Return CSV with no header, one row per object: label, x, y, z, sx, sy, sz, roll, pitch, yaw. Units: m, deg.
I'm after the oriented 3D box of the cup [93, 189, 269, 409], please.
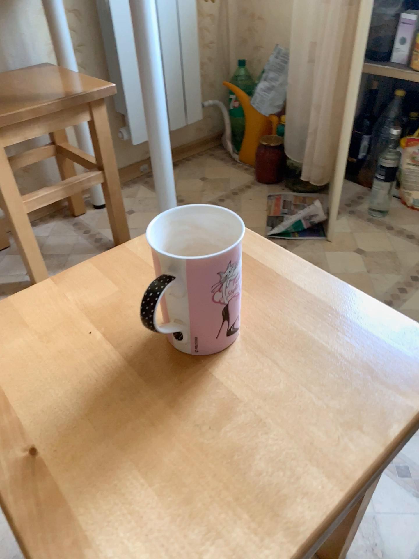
cup,-0.011,0.009,0.327,0.080,0.099,0.121,11,41,17
